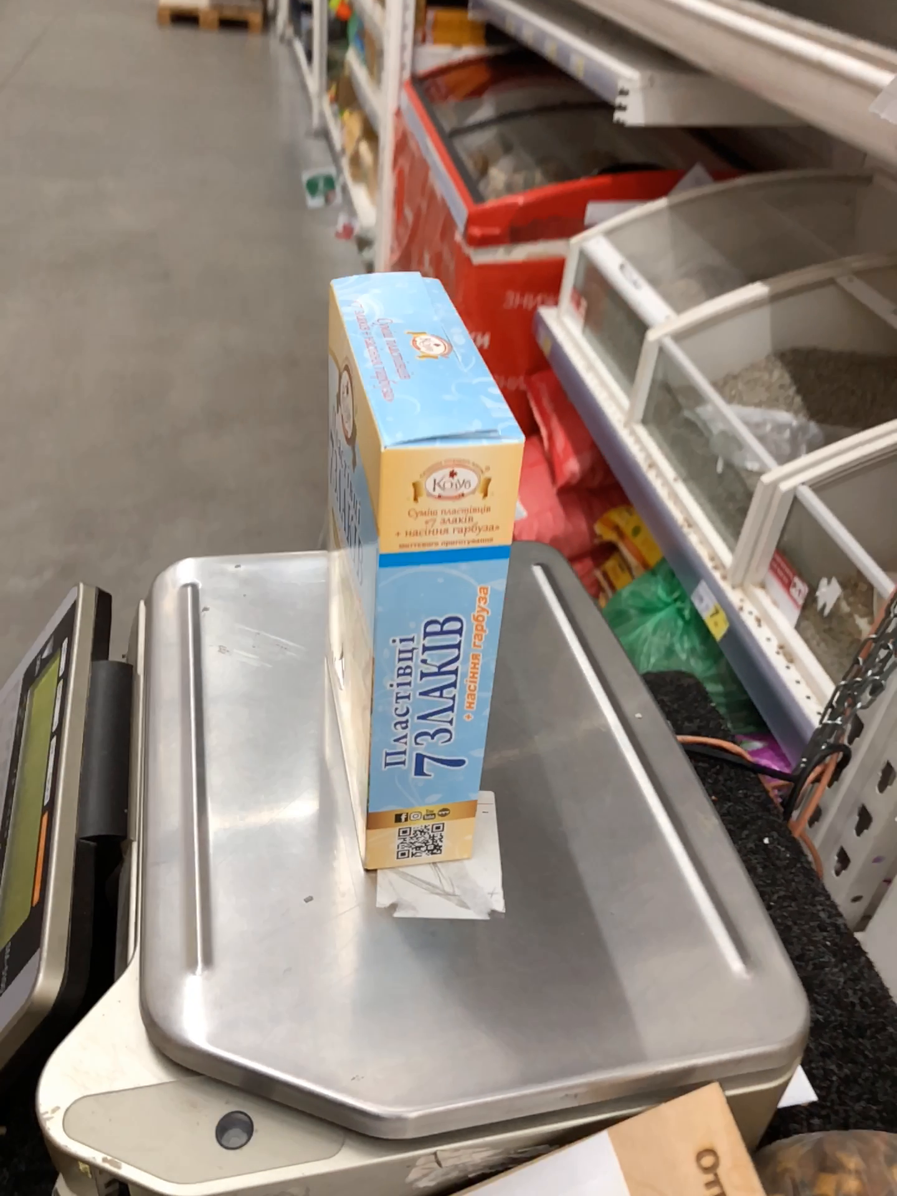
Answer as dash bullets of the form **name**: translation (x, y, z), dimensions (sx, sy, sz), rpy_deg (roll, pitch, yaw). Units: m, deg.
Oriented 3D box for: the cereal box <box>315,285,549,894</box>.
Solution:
- **cereal box**: translation (-0.022, -0.004, 0.459), dimensions (0.060, 0.228, 0.161), rpy_deg (-5, 38, -13)
